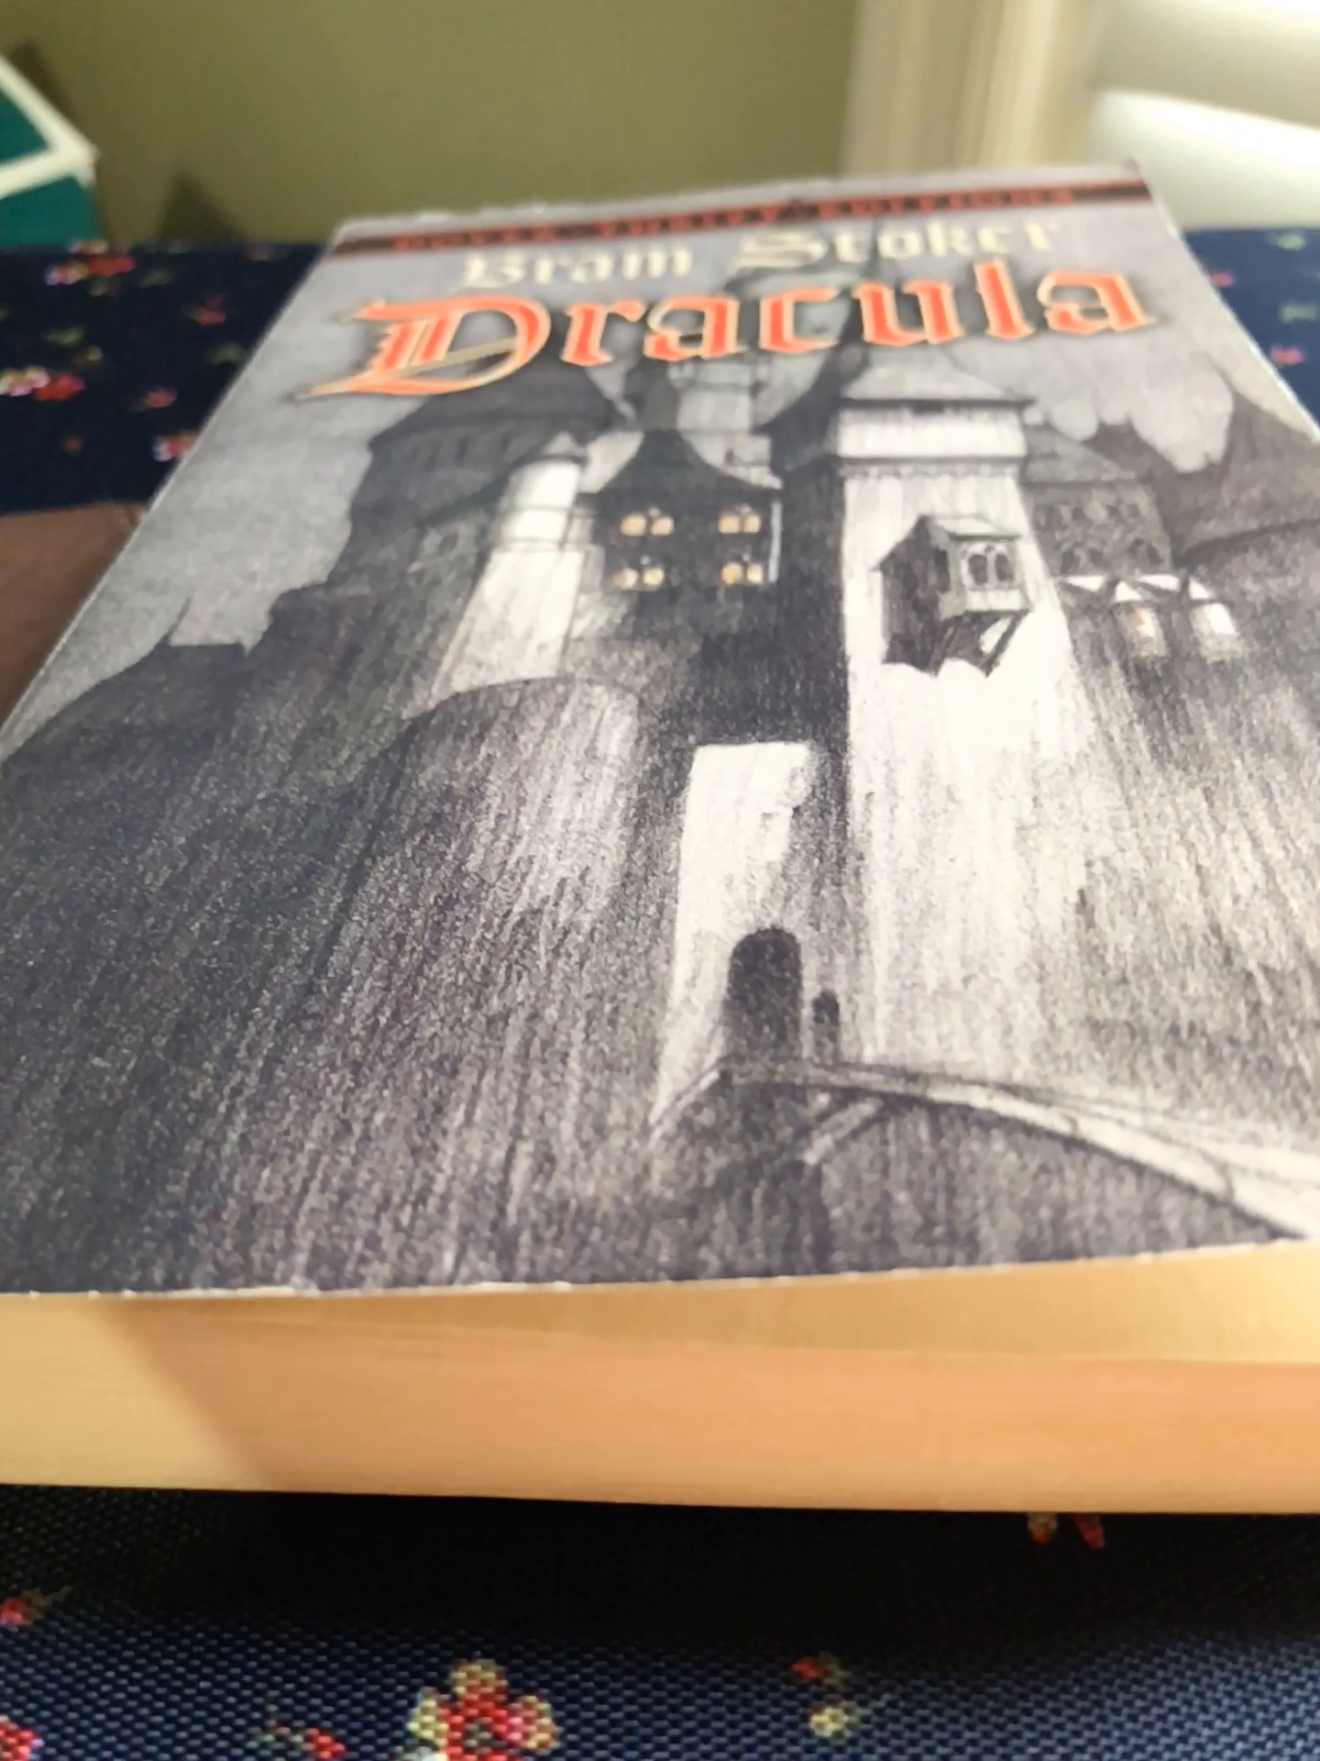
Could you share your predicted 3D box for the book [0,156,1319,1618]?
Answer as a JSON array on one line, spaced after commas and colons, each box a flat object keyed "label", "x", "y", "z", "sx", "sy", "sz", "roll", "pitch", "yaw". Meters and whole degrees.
[{"label": "book", "x": 0.005, "y": -0.030, "z": 0.168, "sx": 0.130, "sy": 0.033, "sz": 0.203, "roll": -1, "pitch": 40, "yaw": 5}]
